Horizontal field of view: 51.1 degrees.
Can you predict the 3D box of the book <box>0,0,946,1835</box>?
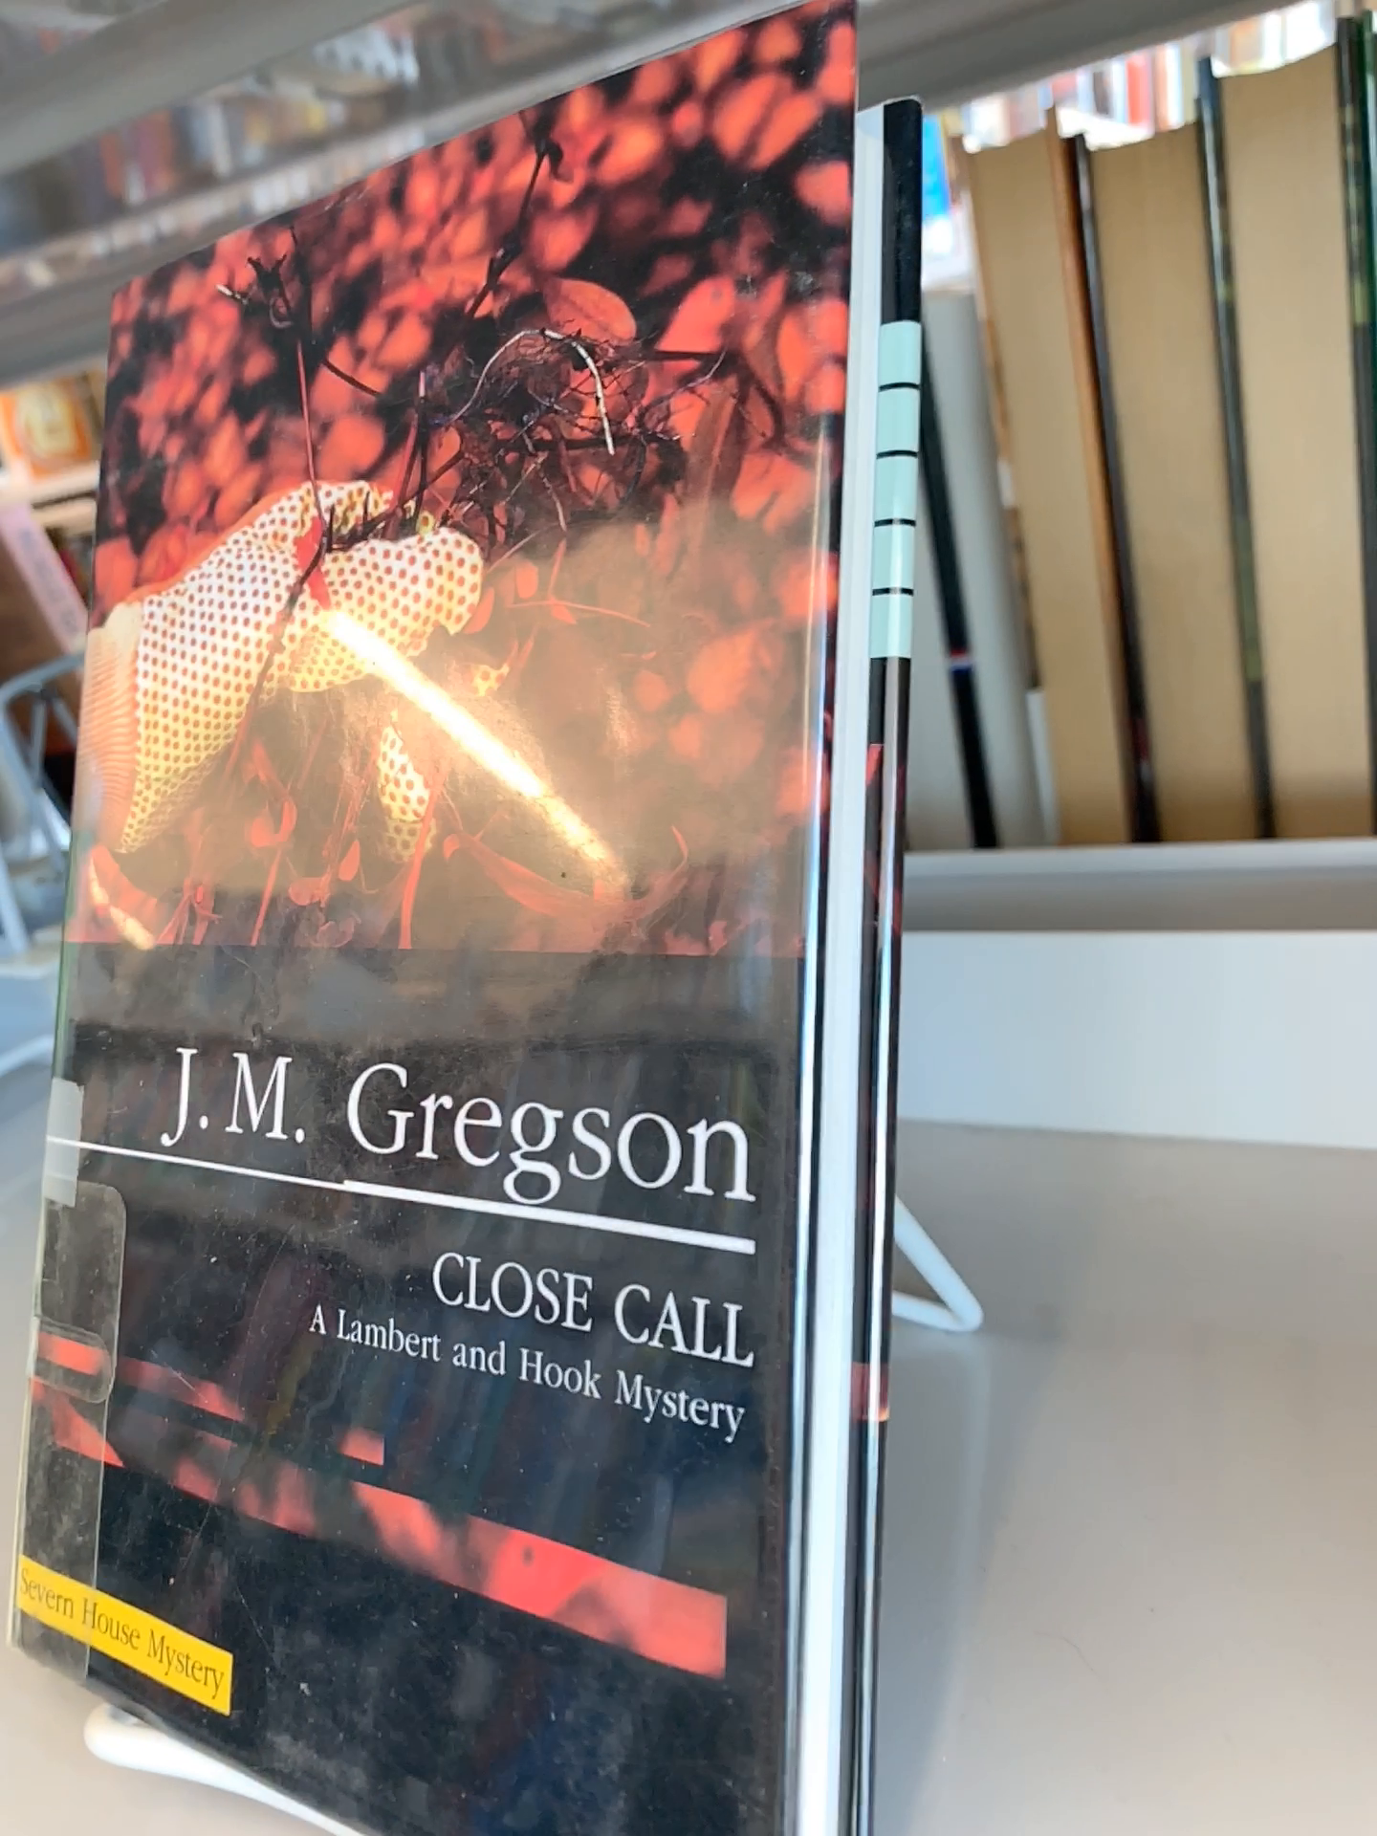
[{"bbox_3d":[-0.038,0.005,0.197,0.140,0.208,0.030,0,-4,35],"label":"book"}]
